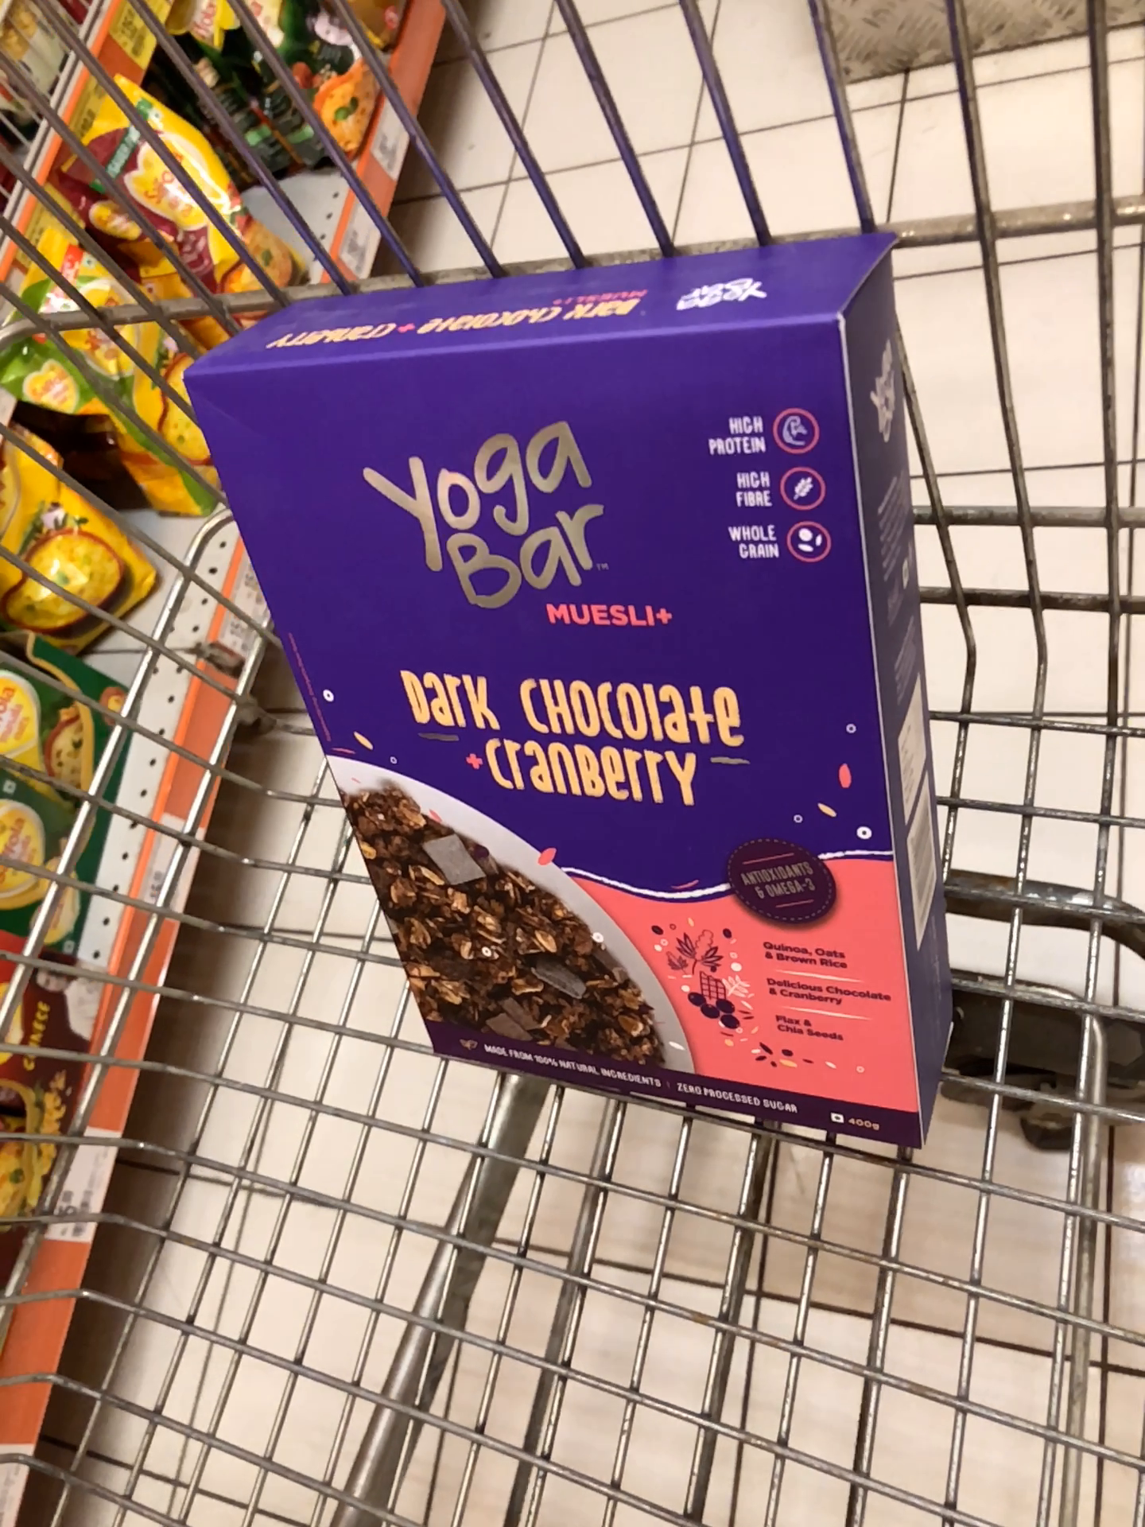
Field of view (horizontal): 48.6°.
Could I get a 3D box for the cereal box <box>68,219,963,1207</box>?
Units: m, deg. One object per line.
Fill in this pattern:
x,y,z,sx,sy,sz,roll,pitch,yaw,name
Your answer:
0.000,-0.003,0.332,0.180,0.229,0.060,5,36,27,cereal box
